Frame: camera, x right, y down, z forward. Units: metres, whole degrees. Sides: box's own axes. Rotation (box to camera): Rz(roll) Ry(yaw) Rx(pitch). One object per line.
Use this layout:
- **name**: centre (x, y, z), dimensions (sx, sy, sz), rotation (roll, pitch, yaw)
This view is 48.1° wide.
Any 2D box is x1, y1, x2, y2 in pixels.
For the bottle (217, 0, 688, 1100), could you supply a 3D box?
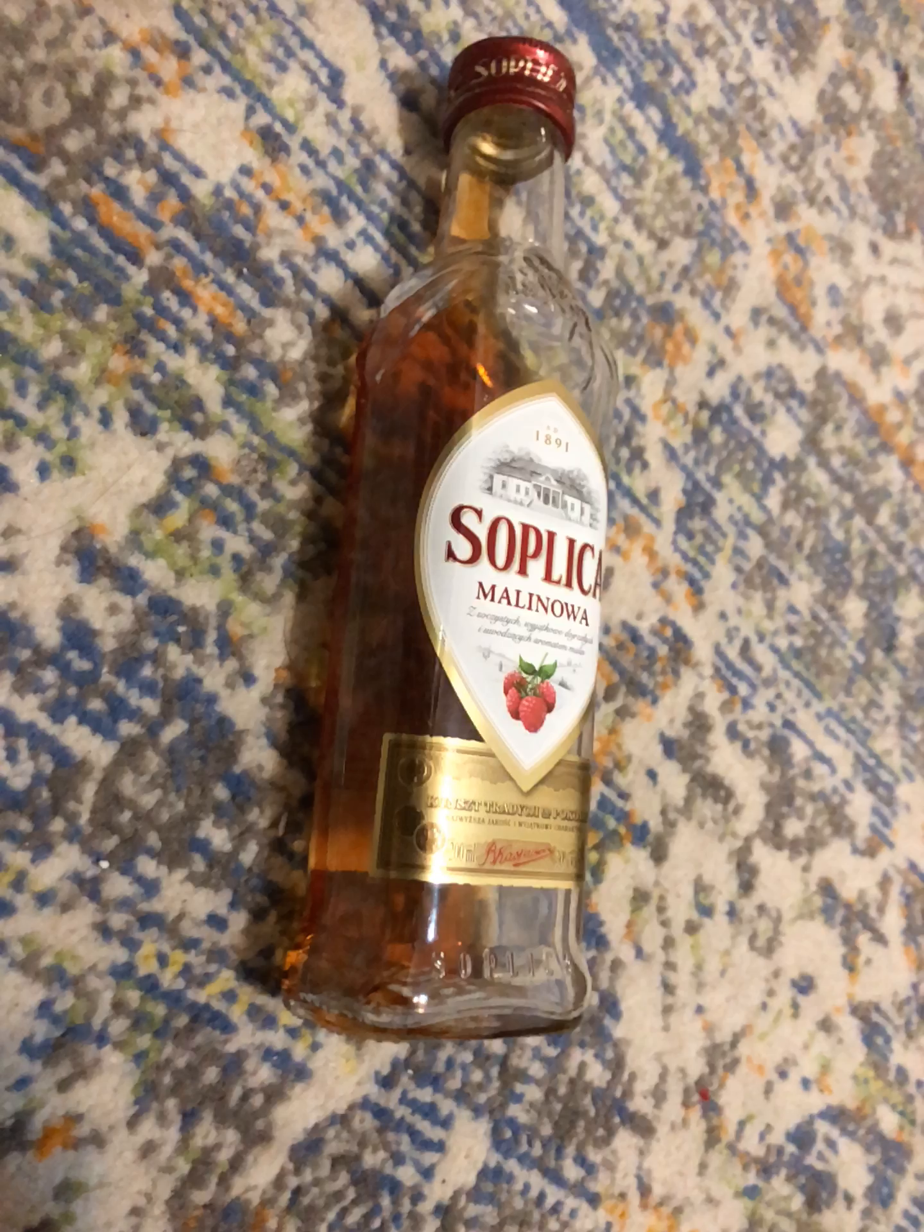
- **bottle**: centre (0.004, -0.028, 0.196), dimensions (0.060, 0.040, 0.210), rotation (13, 75, -36)
